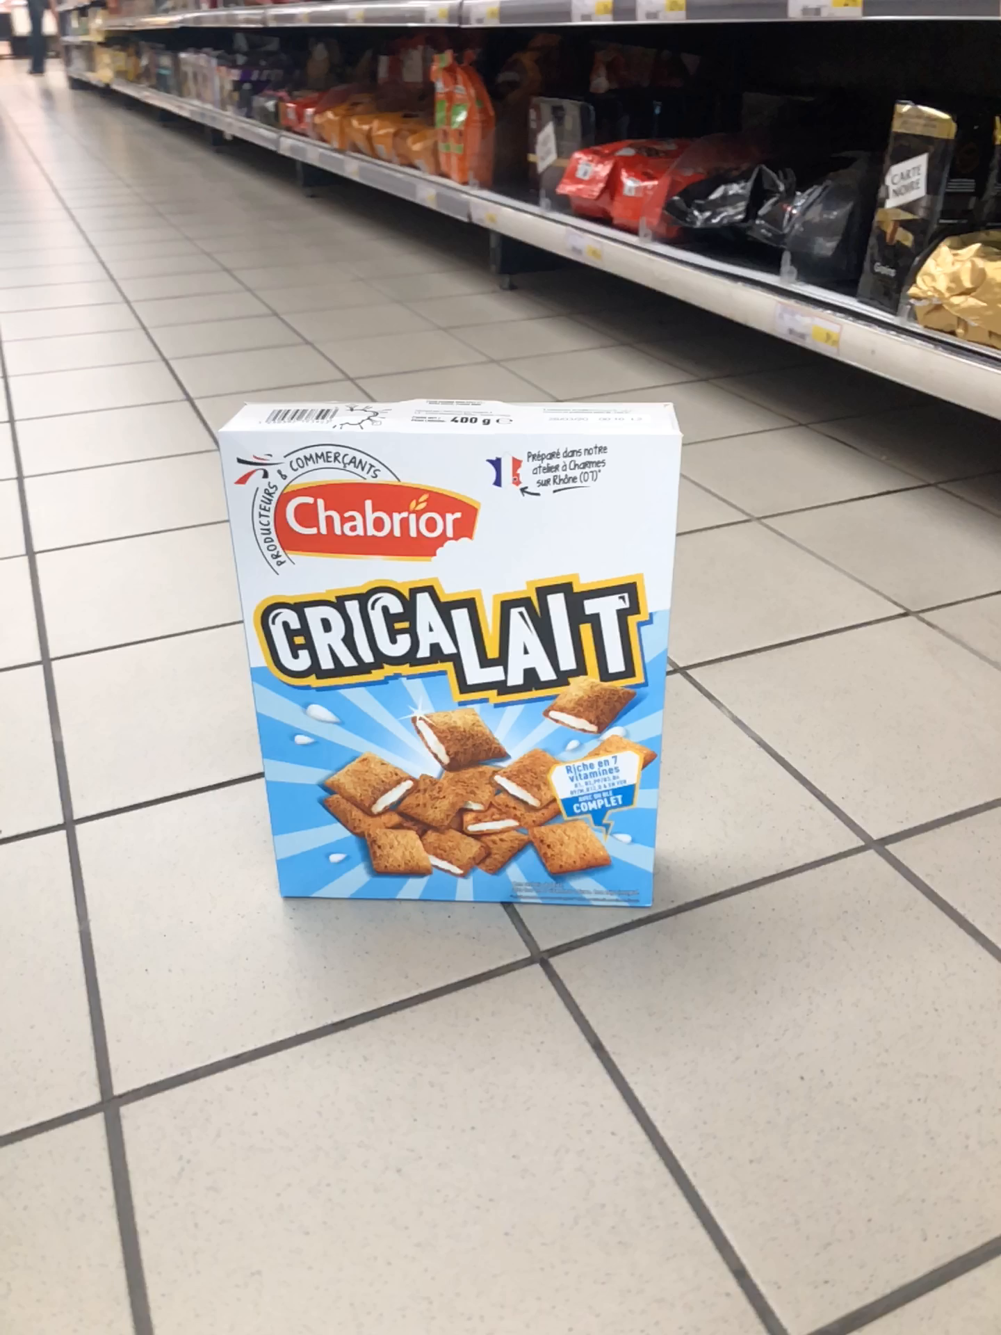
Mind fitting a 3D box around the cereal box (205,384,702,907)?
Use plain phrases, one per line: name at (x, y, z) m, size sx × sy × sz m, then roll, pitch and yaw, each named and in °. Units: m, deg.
cereal box at (-0.016, -0.003, 0.520) m, size 0.200 × 0.249 × 0.050 m, roll 1°, pitch 29°, yaw 5°
